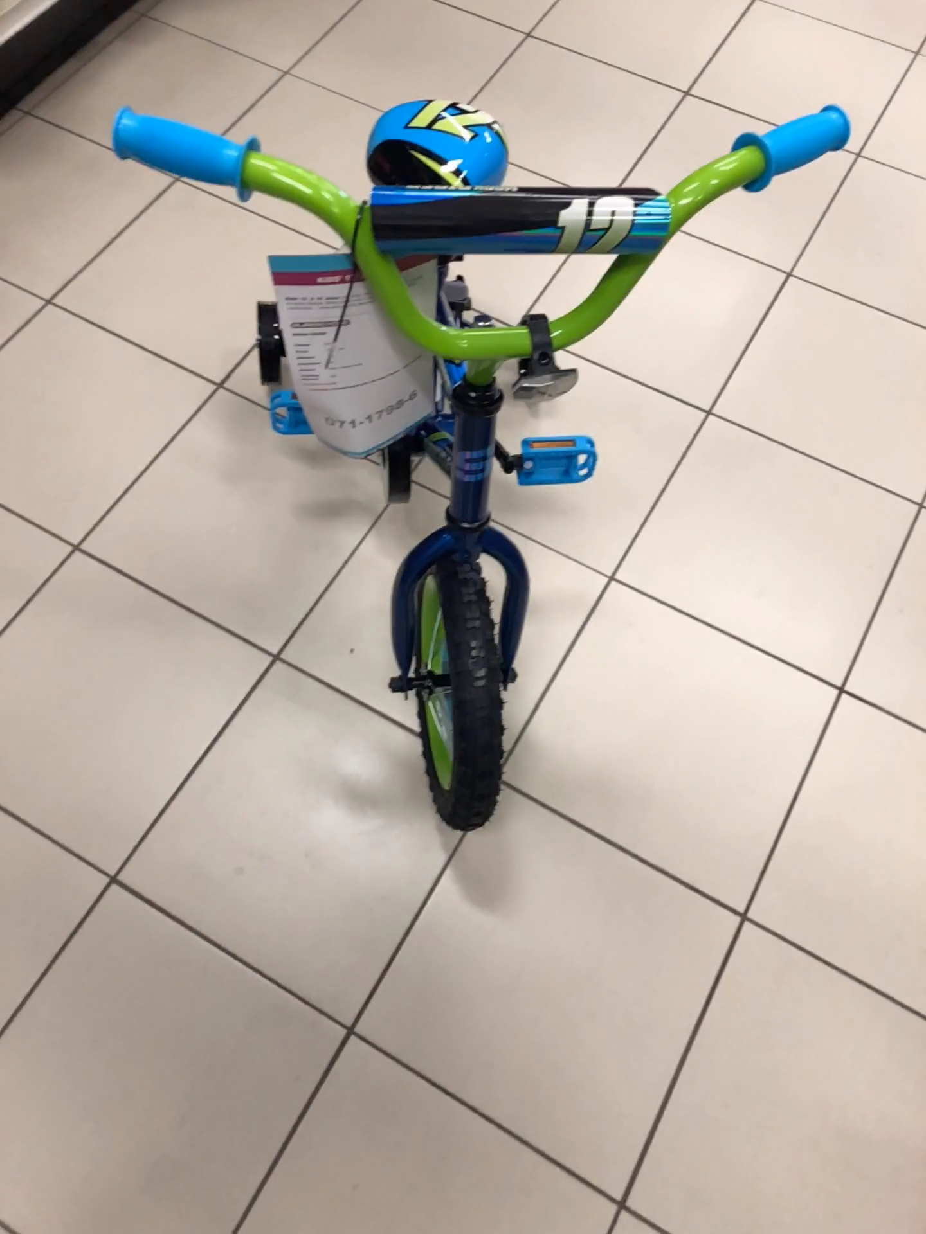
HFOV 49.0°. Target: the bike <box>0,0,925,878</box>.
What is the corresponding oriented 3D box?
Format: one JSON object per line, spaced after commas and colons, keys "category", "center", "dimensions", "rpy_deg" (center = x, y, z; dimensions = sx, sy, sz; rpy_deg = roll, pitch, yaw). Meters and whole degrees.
{"category": "bike", "center": [-0.012, -0.260, 0.979], "dimensions": [0.548, 0.676, 0.797], "rpy_deg": [-5, 63, -4]}
